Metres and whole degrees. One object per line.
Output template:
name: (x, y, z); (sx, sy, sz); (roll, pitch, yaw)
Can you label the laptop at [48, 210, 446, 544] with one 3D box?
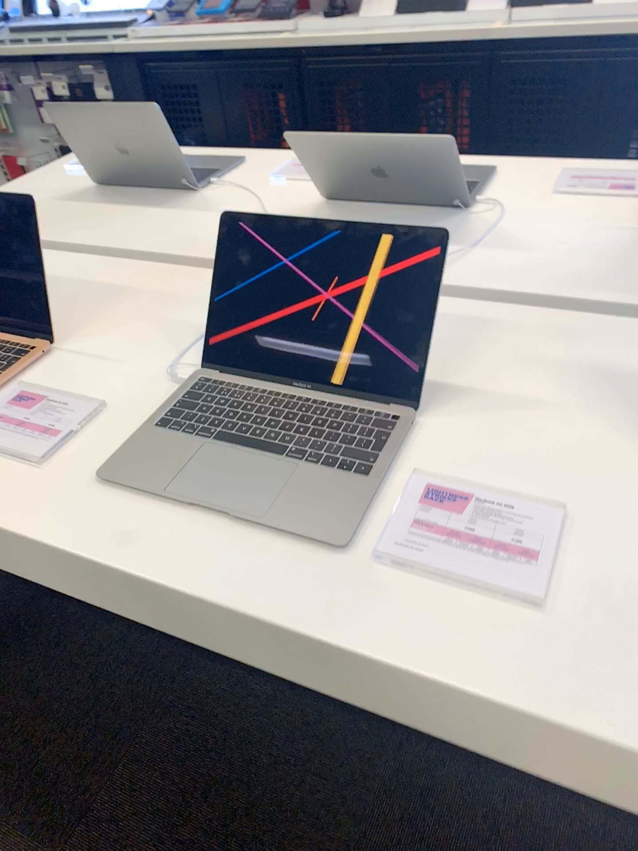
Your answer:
laptop: (-0.048, -0.084, 0.716); (0.290, 0.160, 0.330); (12, 42, 22)
